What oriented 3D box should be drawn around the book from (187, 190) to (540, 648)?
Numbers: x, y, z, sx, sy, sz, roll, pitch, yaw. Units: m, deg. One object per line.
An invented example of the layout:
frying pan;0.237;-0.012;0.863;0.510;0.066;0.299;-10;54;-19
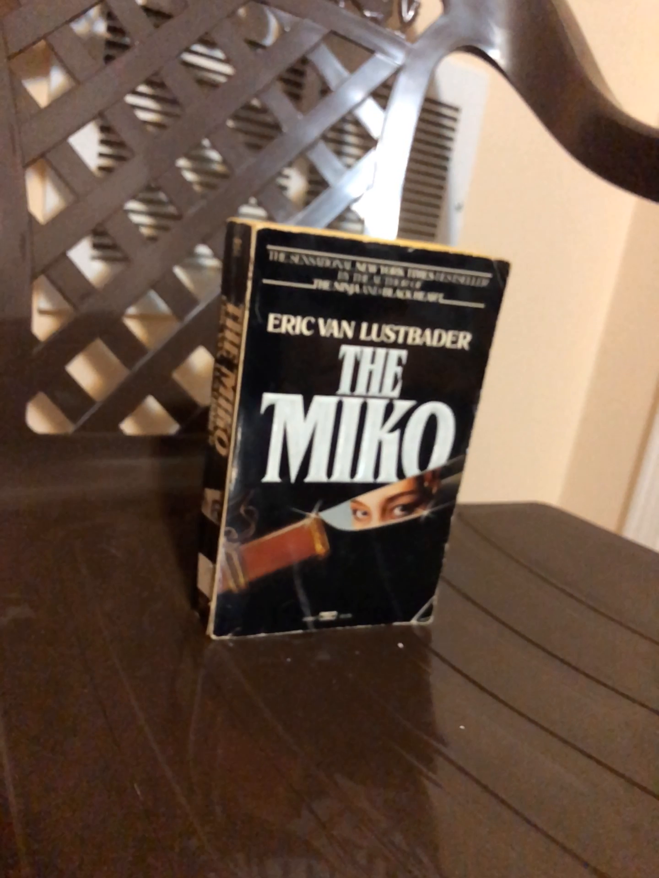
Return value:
book;0.012;-0.005;0.311;0.120;0.170;0.040;2;13;-25
